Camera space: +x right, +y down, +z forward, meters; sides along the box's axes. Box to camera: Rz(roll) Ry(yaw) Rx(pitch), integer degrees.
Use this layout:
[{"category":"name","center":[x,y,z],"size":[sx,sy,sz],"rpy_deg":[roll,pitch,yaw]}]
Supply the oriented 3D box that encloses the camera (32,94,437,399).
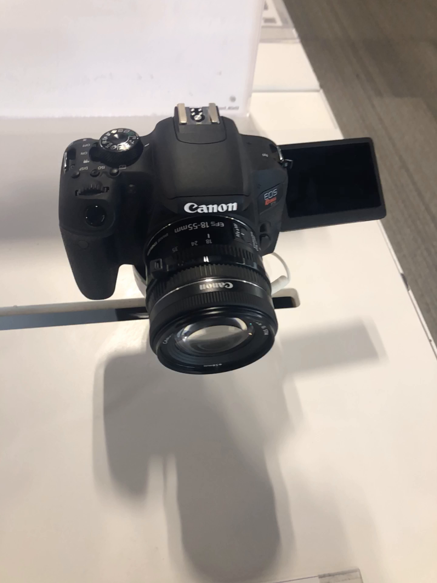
[{"category":"camera","center":[0.023,-0.027,0.264],"size":[0.210,0.099,0.111],"rpy_deg":[-6,55,-9]}]
